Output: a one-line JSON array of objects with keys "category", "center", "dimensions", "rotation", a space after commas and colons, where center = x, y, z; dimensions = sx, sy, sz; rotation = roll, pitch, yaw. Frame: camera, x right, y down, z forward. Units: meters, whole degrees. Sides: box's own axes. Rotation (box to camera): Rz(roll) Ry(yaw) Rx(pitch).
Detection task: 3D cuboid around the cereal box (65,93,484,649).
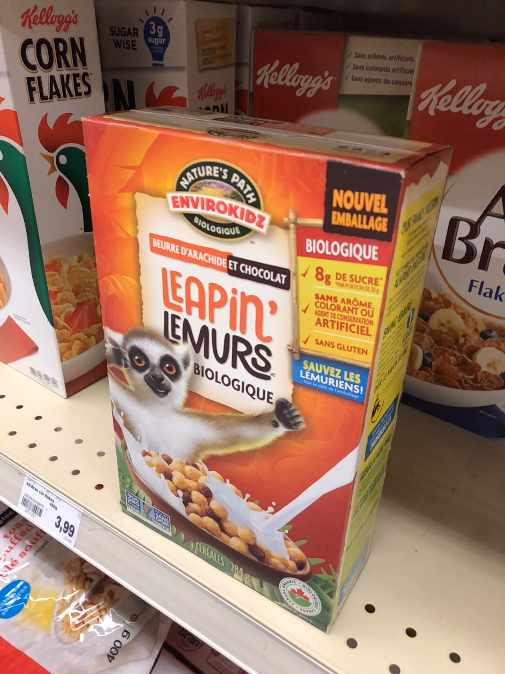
[{"category": "cereal box", "center": [0.001, 0.017, 0.305], "dimensions": [0.170, 0.258, 0.070], "rotation": [19, 34, 28]}]
